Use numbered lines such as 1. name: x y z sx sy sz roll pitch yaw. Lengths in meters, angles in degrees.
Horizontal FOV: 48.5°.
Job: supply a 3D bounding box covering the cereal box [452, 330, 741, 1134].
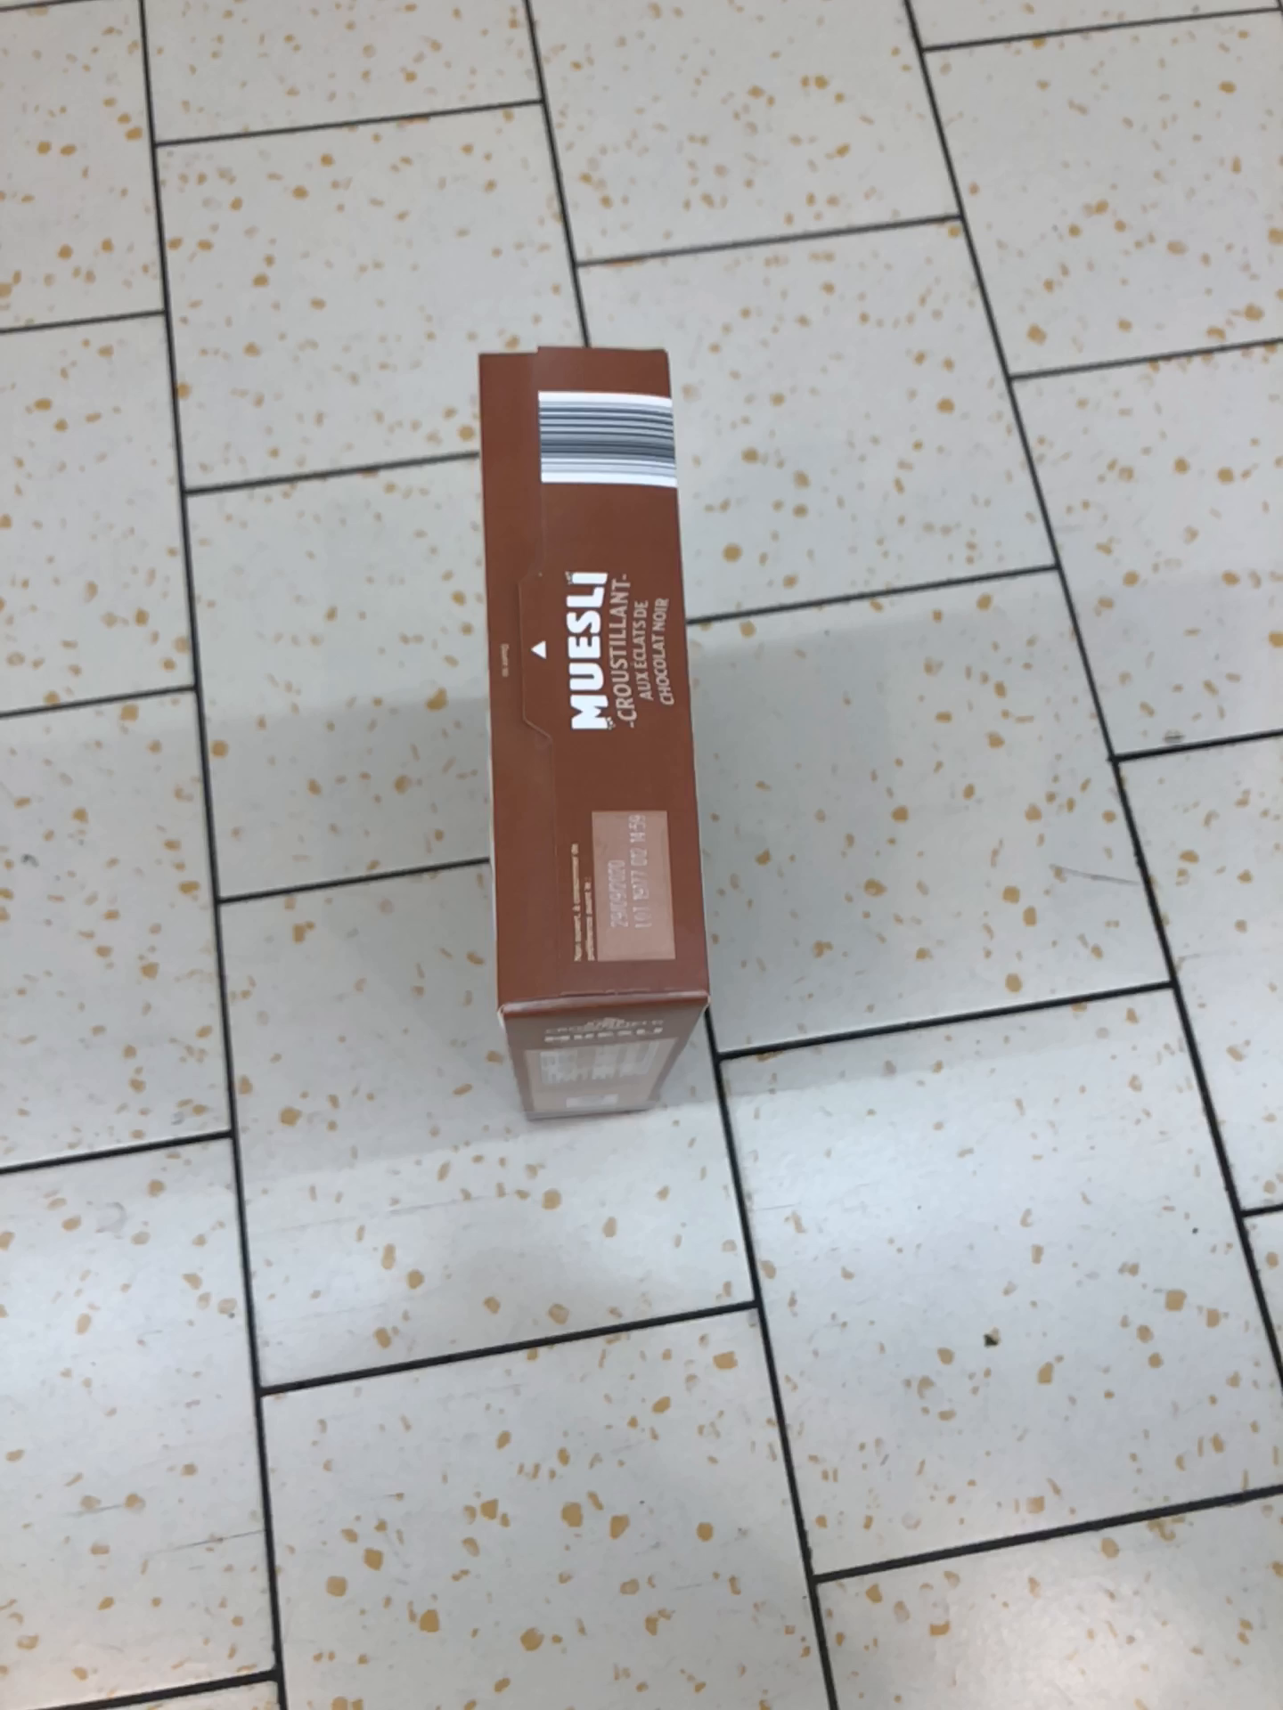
1. cereal box: -0.015 -0.018 0.489 0.070 0.239 0.200 -1 73 -1
